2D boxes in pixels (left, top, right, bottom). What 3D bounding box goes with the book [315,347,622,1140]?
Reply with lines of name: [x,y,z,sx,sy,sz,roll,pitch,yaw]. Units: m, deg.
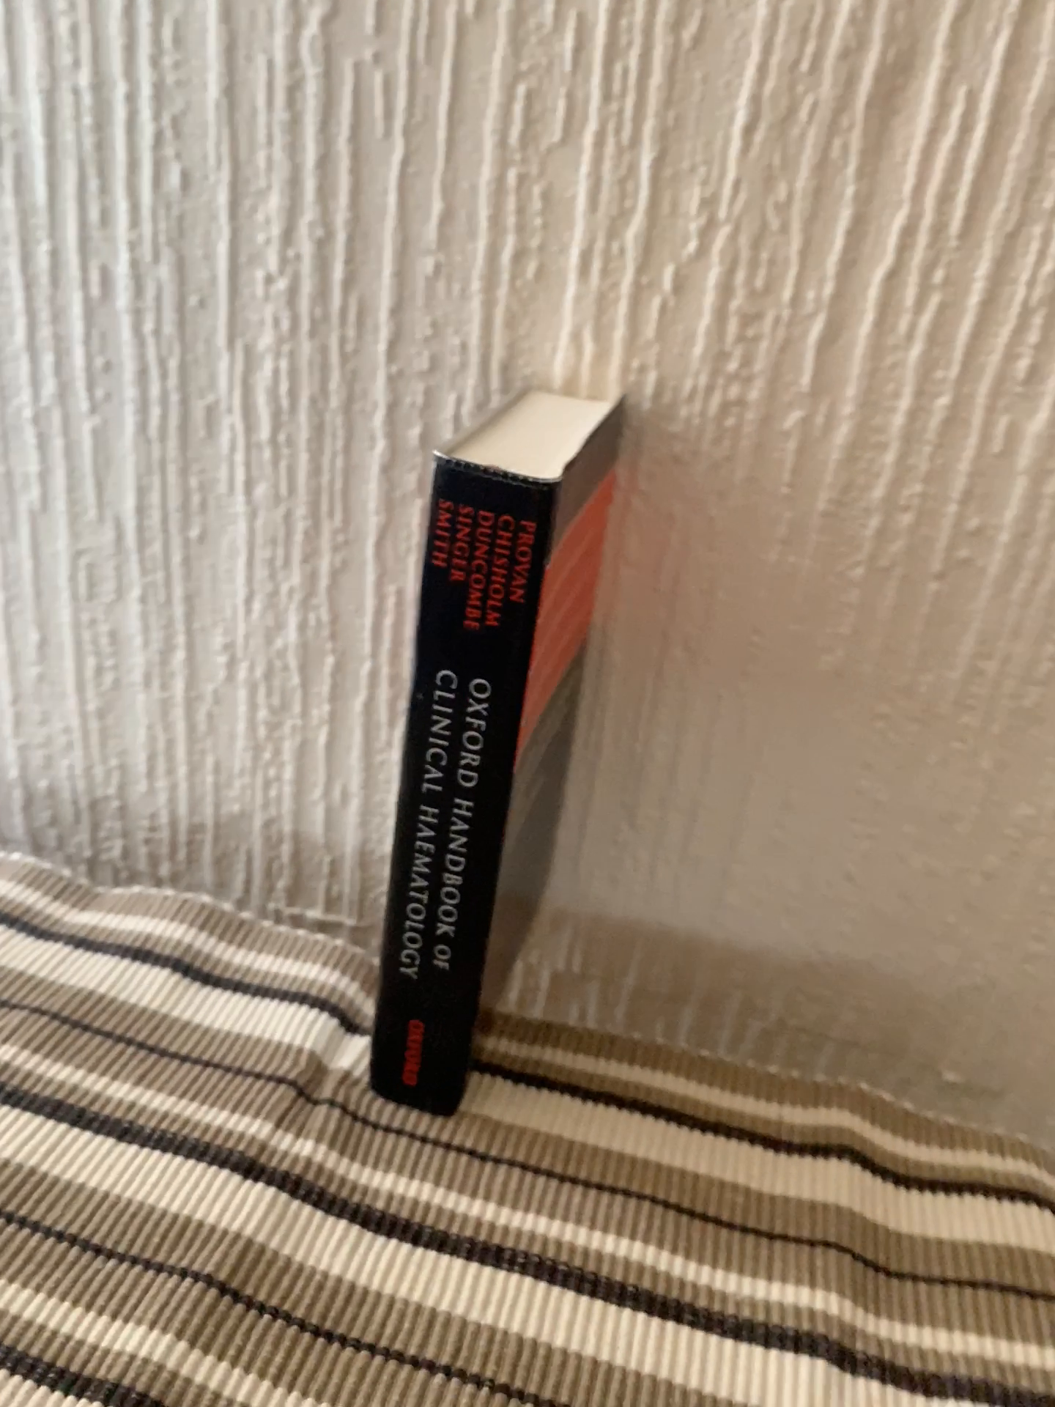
book: [-0.016,0.007,0.318,0.040,0.188,0.121,12,27,5]
